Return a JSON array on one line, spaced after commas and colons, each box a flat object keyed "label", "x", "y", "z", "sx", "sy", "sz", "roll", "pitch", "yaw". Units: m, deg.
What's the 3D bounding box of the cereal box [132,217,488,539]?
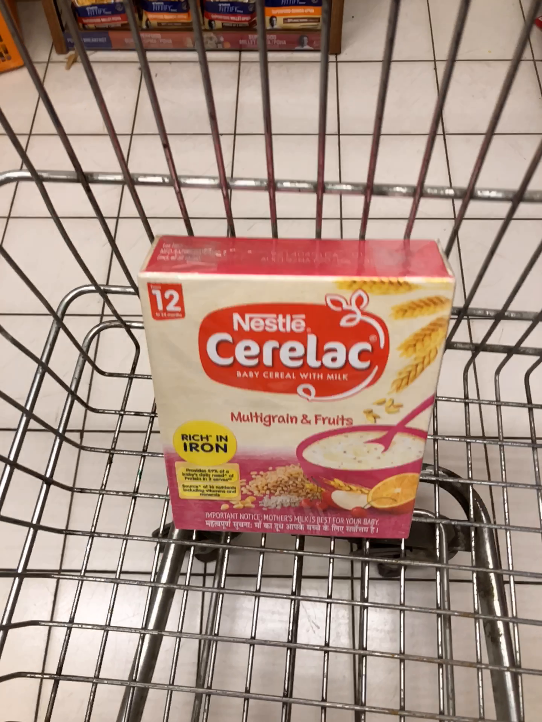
[{"label": "cereal box", "x": 0.018, "y": 0.018, "z": 0.345, "sx": 0.160, "sy": 0.189, "sz": 0.050, "roll": 2, "pitch": 36, "yaw": 3}]
